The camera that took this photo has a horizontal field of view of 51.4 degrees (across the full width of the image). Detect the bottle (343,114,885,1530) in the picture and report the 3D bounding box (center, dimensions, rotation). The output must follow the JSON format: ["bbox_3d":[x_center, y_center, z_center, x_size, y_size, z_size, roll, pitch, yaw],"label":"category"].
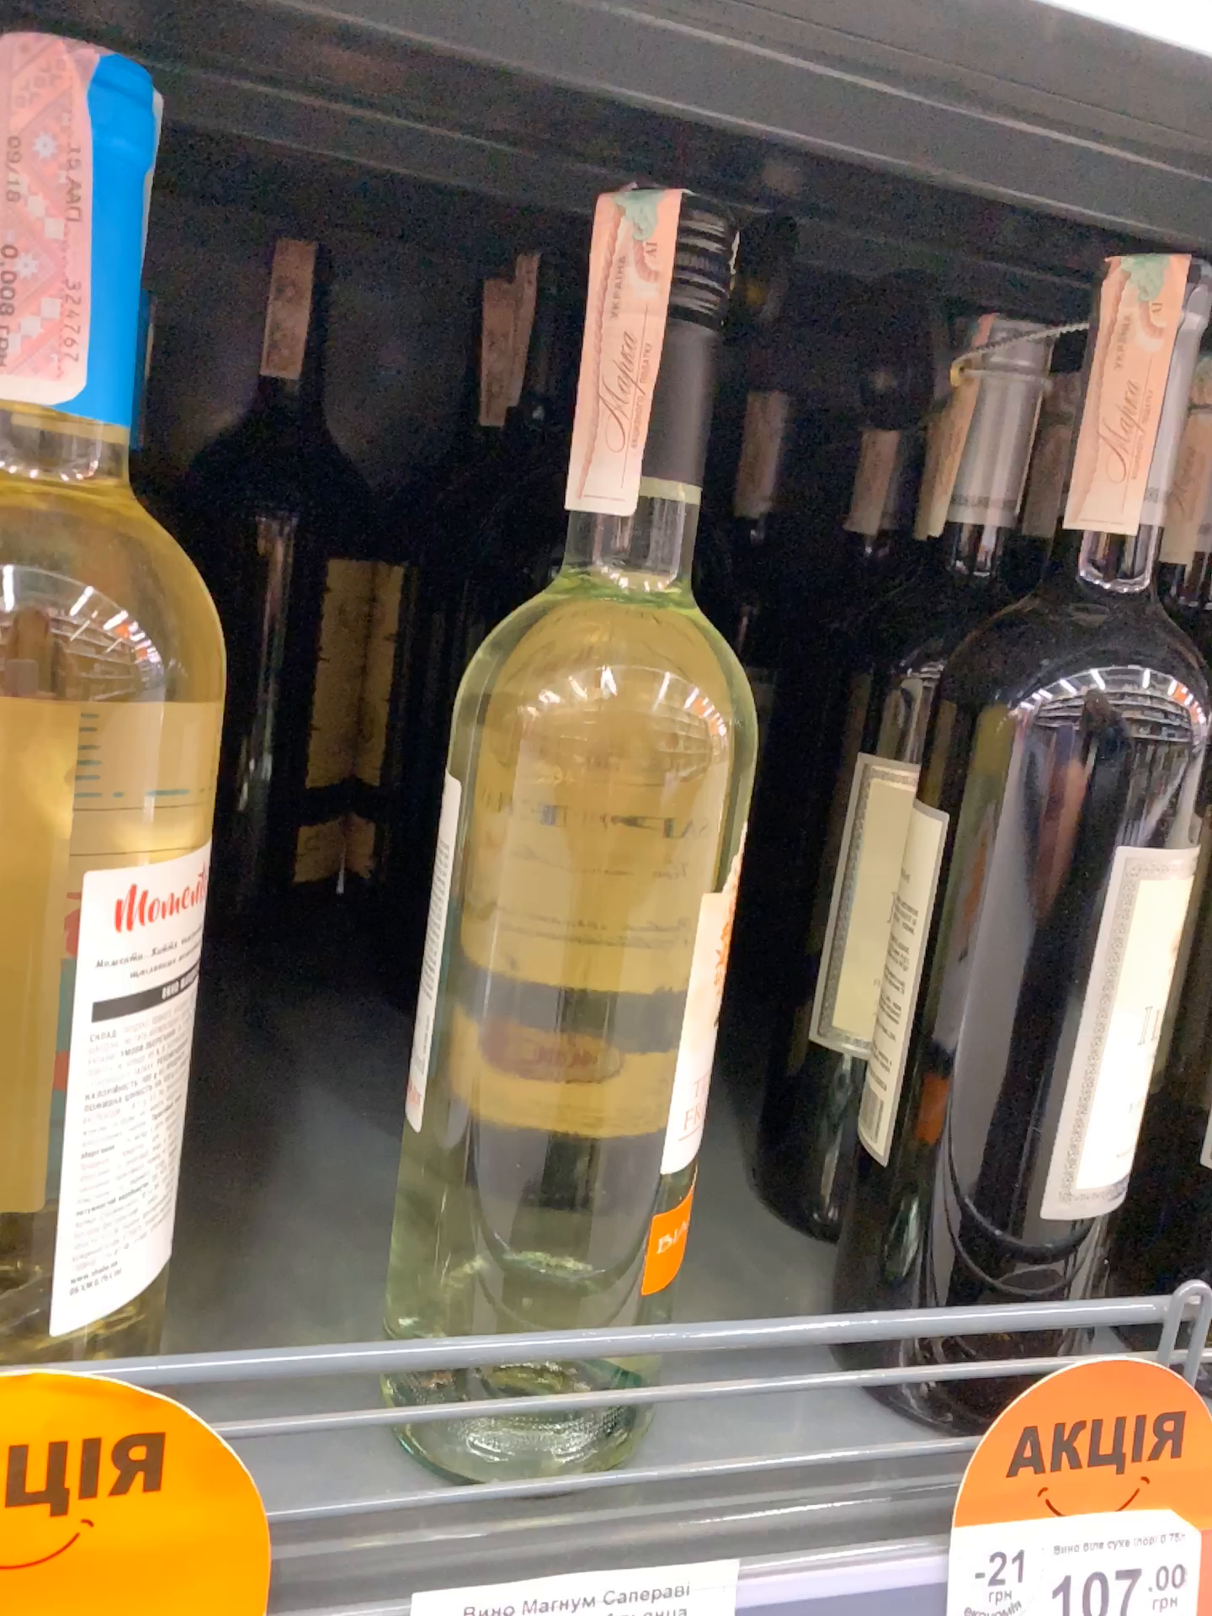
[{"bbox_3d":[-0.004,0.012,0.296,0.070,0.294,0.070,8,12,-2],"label":"bottle"}]
